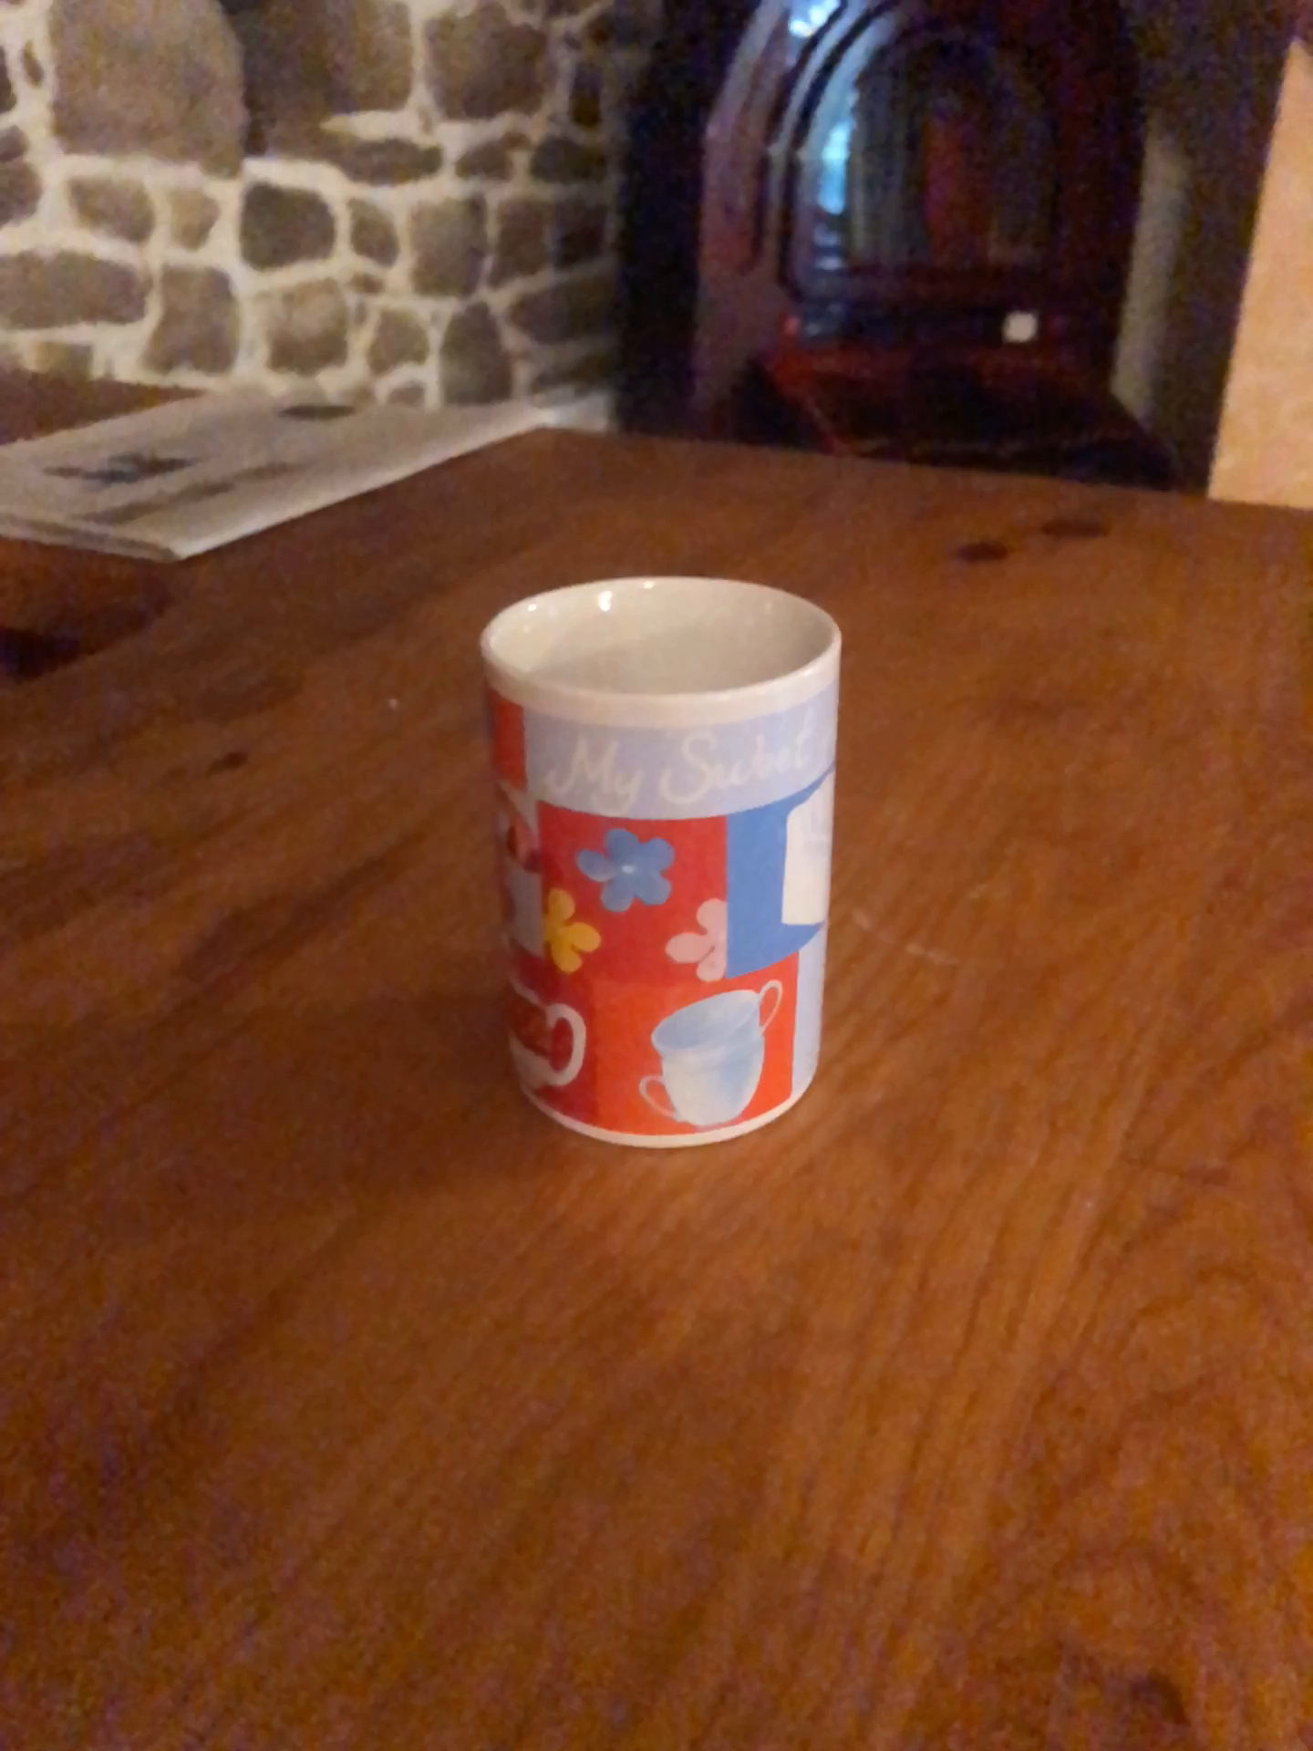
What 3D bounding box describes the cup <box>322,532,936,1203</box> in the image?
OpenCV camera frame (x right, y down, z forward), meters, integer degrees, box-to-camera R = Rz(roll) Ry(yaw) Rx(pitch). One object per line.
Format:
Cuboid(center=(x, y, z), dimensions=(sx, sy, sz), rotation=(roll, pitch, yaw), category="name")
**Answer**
Cuboid(center=(-0.011, -0.011, 0.326), dimensions=(0.080, 0.099, 0.112), rotation=(-16, 31, -31), category="cup")
